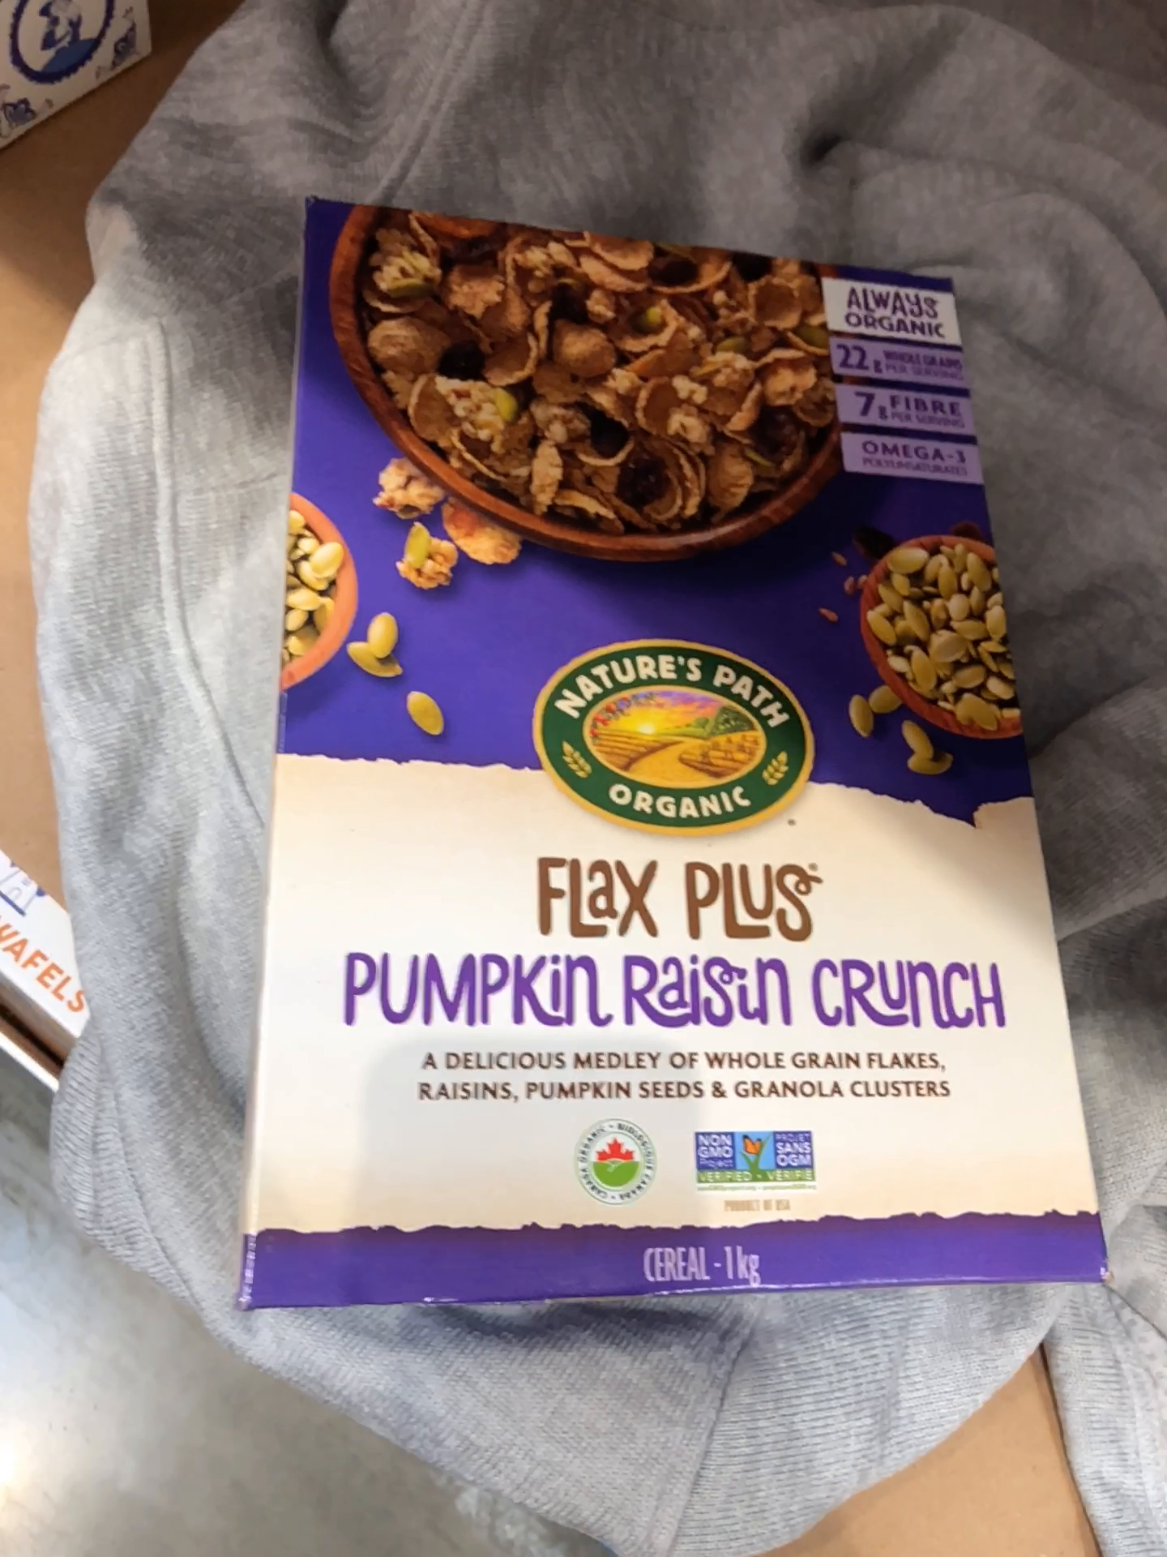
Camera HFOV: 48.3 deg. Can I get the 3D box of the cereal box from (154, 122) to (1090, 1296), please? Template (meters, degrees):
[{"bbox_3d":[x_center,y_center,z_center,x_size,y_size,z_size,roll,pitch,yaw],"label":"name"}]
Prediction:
[{"bbox_3d":[0.003,-0.021,0.379,0.210,0.090,0.310,3,69,-12],"label":"cereal box"}]
